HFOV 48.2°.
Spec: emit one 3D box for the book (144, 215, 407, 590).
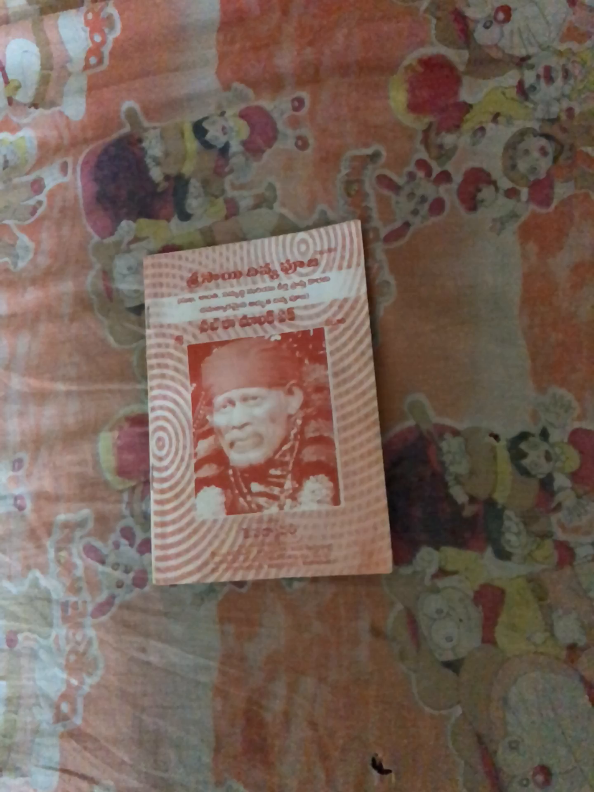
[{"bbox_3d":[-0.015,0.003,0.325,0.120,0.010,0.173,-6,79,11],"label":"book"}]
